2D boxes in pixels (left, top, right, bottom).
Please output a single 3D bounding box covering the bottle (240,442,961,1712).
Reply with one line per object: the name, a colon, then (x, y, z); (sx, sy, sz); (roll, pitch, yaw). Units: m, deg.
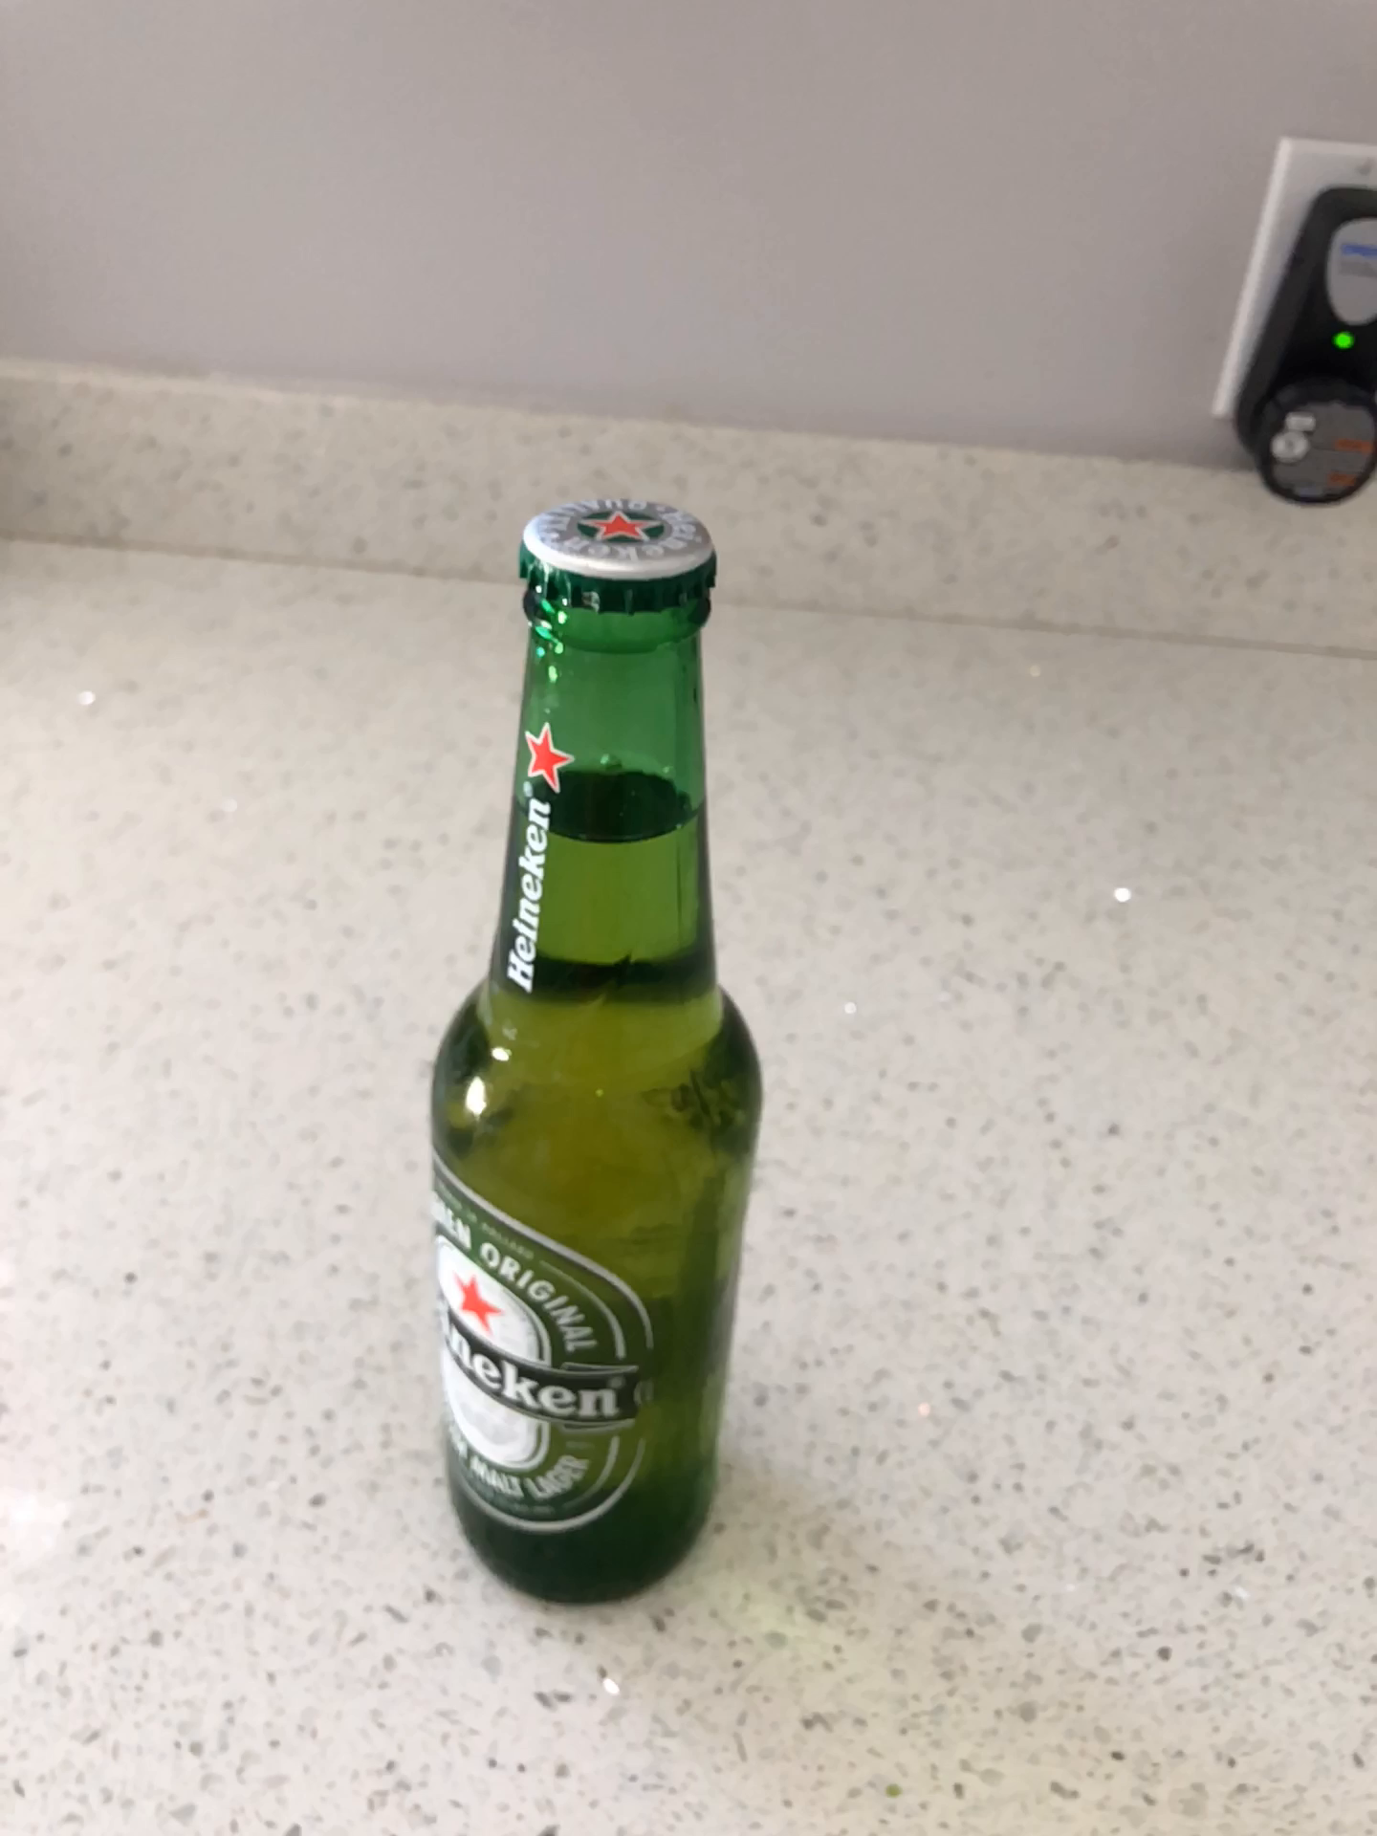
bottle: (-0.016, 0.036, 0.272); (0.070, 0.209, 0.070); (2, 35, -1)
